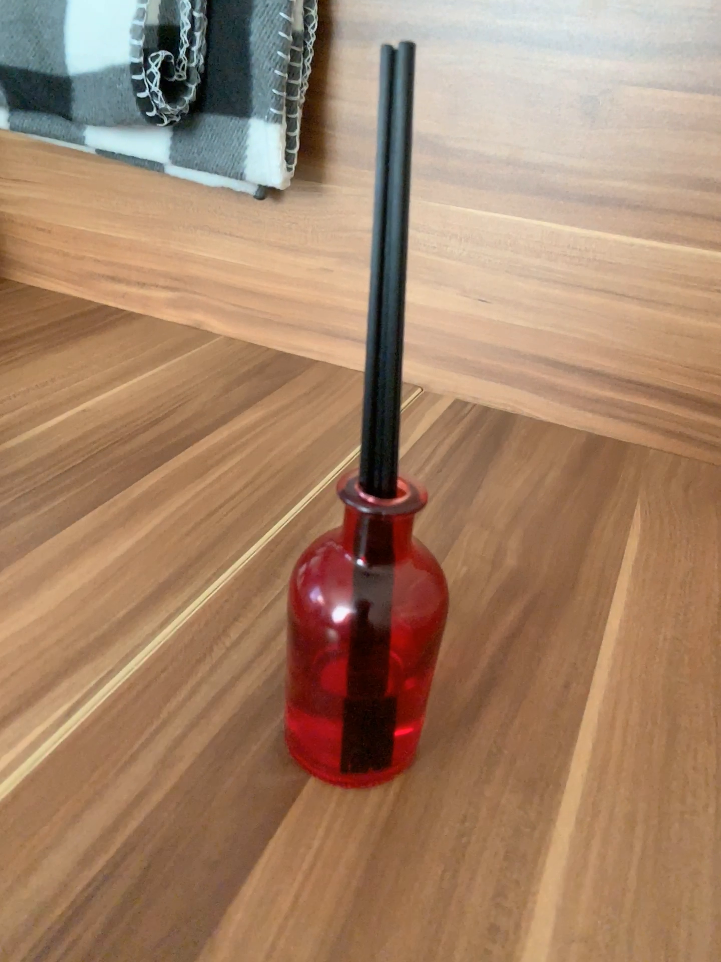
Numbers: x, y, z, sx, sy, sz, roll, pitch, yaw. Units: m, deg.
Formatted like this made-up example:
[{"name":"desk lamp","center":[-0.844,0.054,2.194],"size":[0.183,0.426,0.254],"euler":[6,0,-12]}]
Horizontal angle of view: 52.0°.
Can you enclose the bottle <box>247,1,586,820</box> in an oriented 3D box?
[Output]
[{"name":"bottle","center":[0.006,-0.004,0.231],"size":[0.060,0.239,0.050],"euler":[20,33,23]}]
